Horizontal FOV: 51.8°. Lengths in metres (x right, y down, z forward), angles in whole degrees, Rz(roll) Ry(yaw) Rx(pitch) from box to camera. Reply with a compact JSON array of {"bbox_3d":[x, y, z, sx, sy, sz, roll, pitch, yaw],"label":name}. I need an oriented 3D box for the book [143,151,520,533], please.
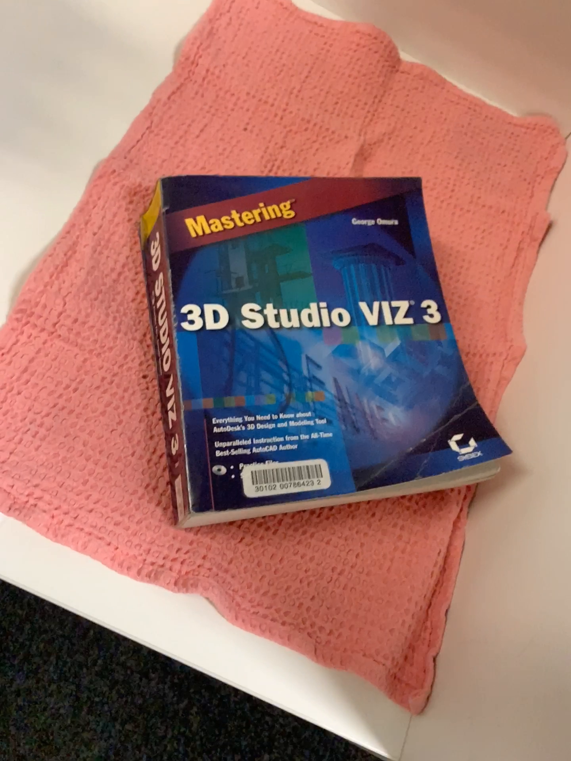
[{"bbox_3d":[0.019,-0.032,0.405,0.206,0.077,0.232,-3,70,-18],"label":"book"}]
